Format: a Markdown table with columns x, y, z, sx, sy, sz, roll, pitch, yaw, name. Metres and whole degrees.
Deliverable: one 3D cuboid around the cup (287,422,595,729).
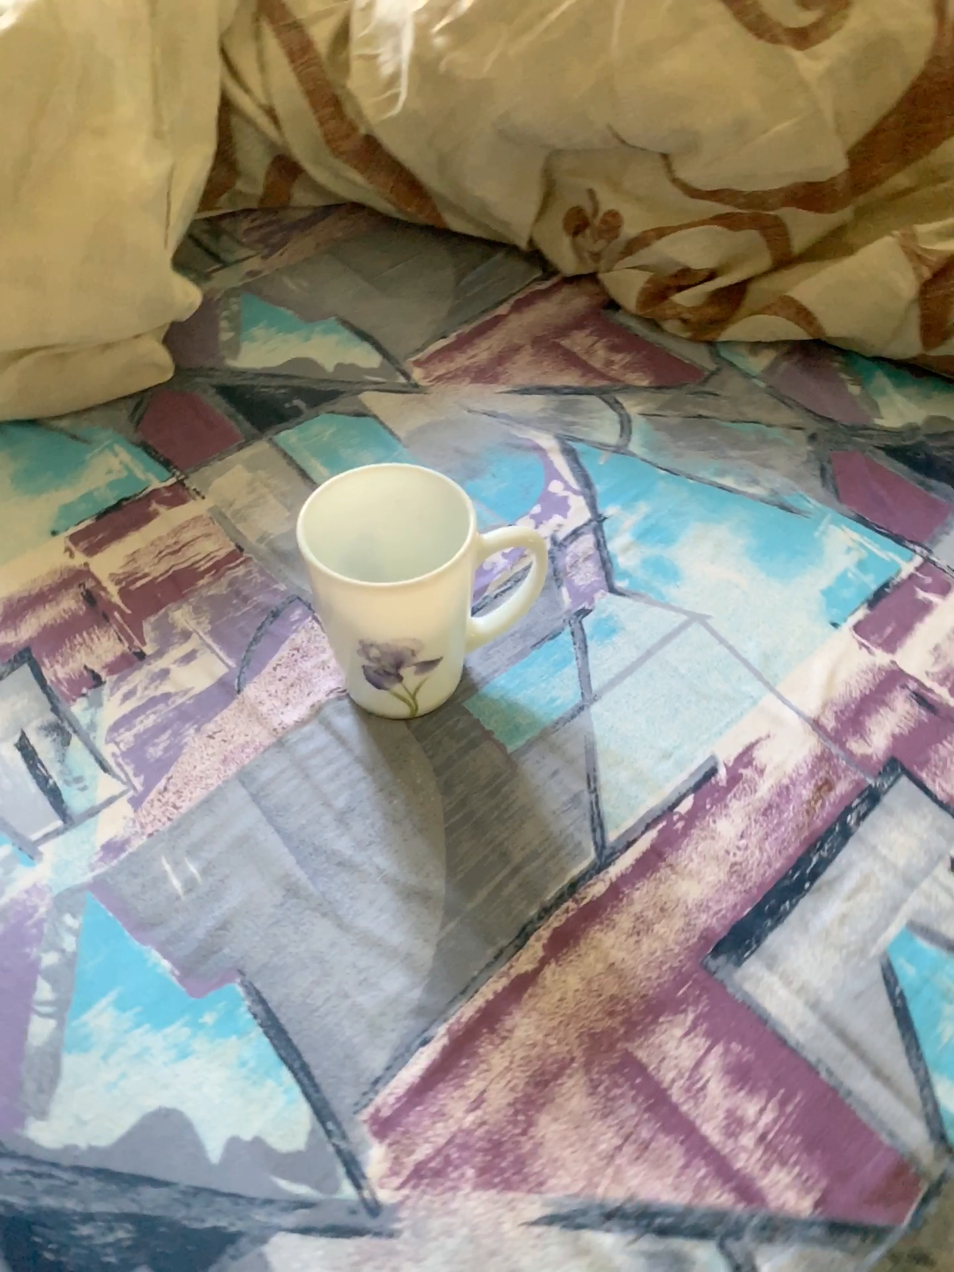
| x | y | z | sx | sy | sz | roll | pitch | yaw | name |
| --- | --- | --- | --- | --- | --- | --- | --- | --- | --- |
| -0.018 | -0.028 | 0.459 | 0.120 | 0.099 | 0.081 | -10 | 51 | -8 | cup |
